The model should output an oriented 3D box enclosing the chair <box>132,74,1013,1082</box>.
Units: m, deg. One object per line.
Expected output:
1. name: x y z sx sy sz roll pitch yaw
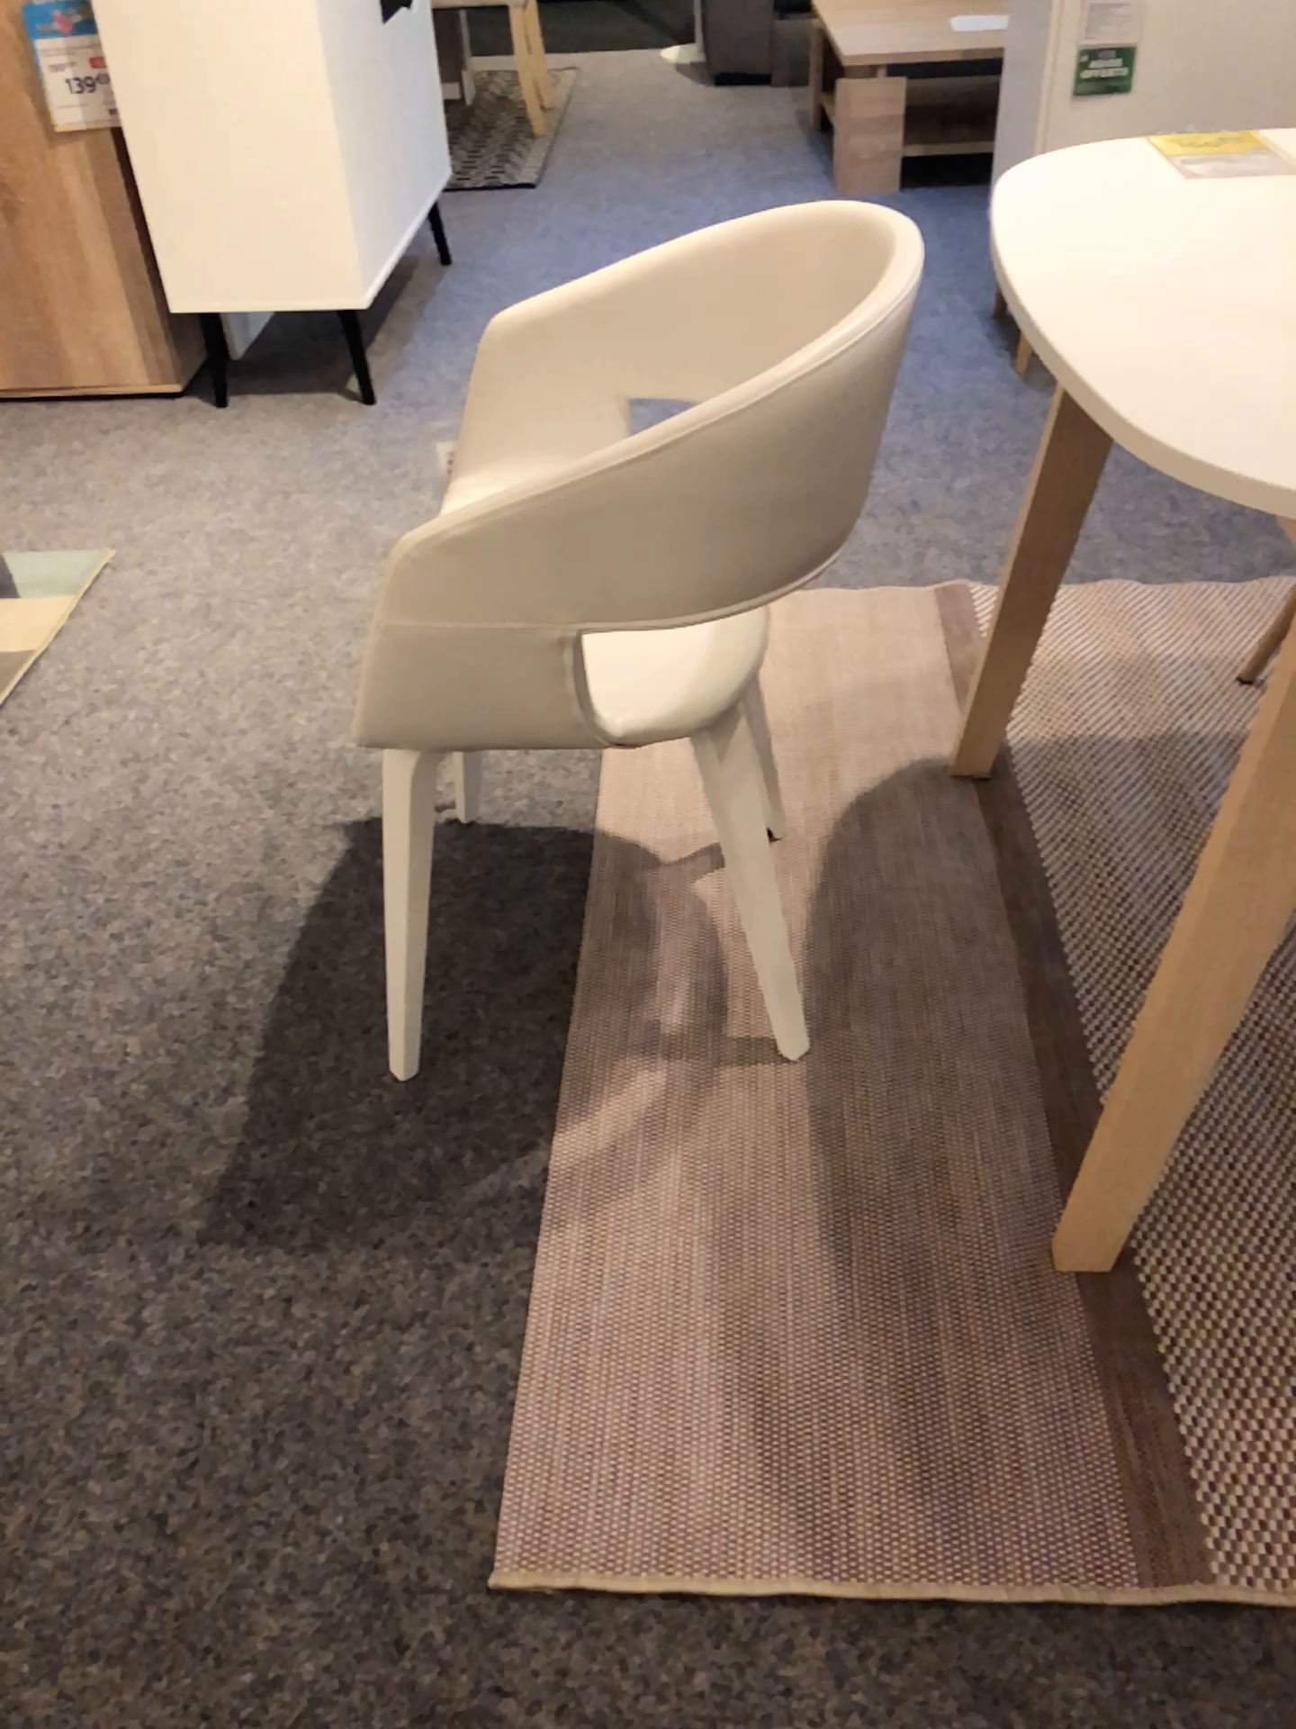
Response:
1. chair: -0.023 -0.256 1.351 0.560 0.756 0.553 0 40 4
